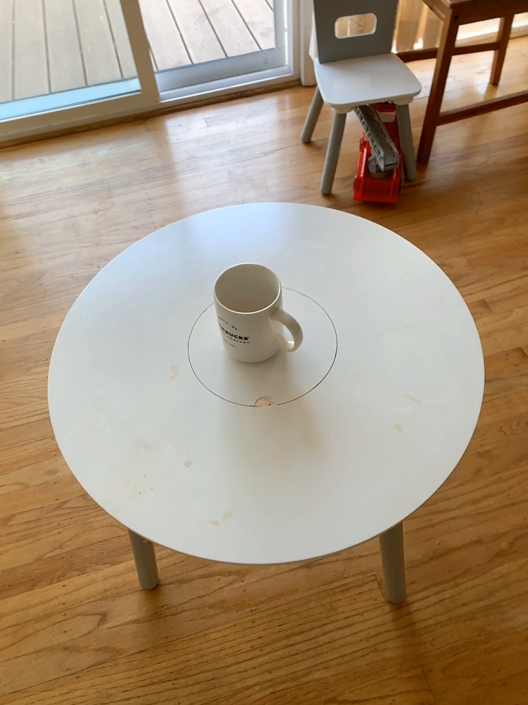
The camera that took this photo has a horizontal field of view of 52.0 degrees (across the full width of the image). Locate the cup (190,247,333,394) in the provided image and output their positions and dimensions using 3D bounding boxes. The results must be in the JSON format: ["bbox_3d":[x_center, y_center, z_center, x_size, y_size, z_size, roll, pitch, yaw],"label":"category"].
[{"bbox_3d":[0.000,-0.040,0.674,0.140,0.110,0.090,25,60,20],"label":"cup"}]
